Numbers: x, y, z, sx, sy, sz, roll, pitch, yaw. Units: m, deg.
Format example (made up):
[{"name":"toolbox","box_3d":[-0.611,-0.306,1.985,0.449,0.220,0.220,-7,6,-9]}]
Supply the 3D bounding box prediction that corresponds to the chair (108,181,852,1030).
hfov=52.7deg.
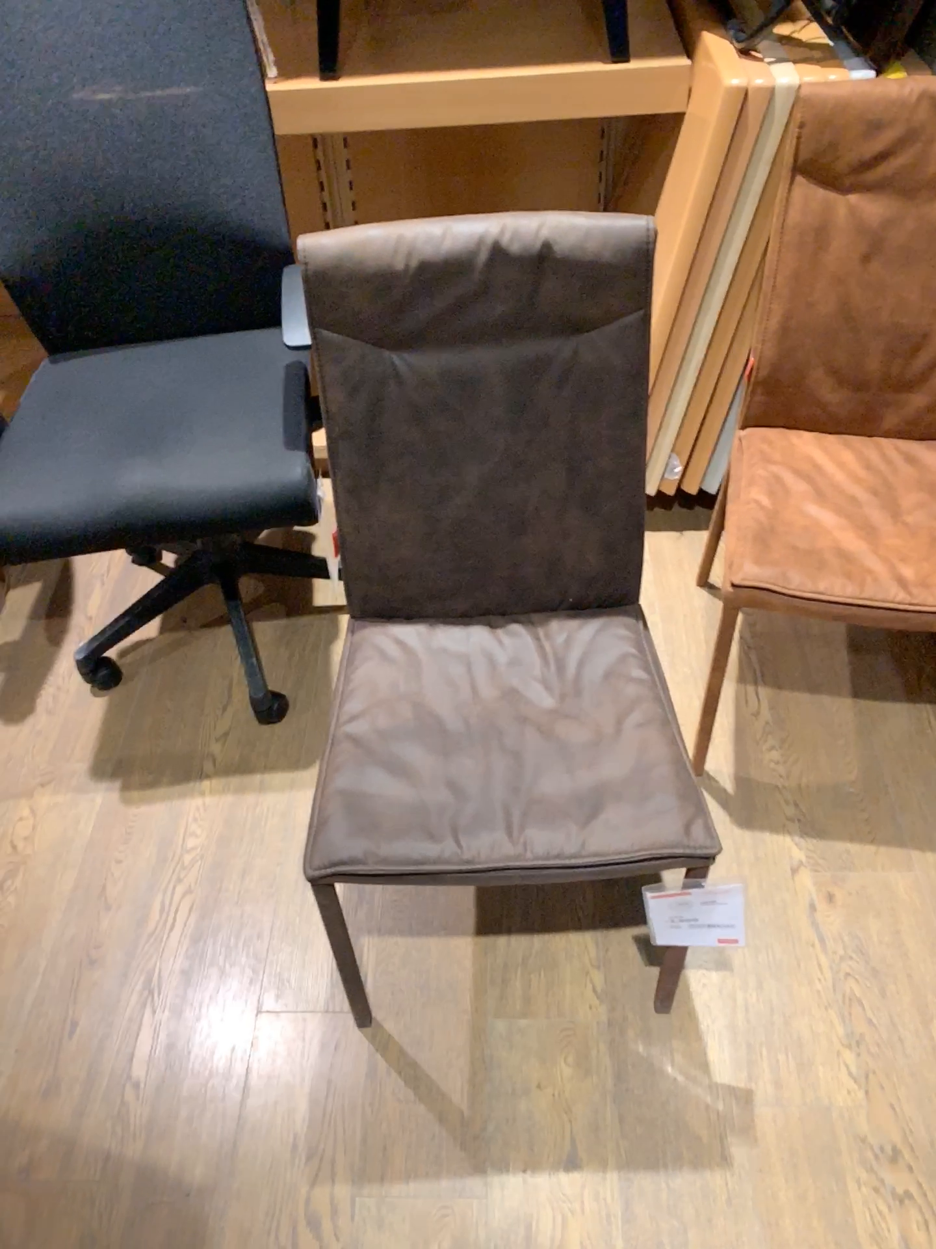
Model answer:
[{"name":"chair","box_3d":[0.023,0.047,1.143,0.500,0.907,0.522,-2,46,2]}]
